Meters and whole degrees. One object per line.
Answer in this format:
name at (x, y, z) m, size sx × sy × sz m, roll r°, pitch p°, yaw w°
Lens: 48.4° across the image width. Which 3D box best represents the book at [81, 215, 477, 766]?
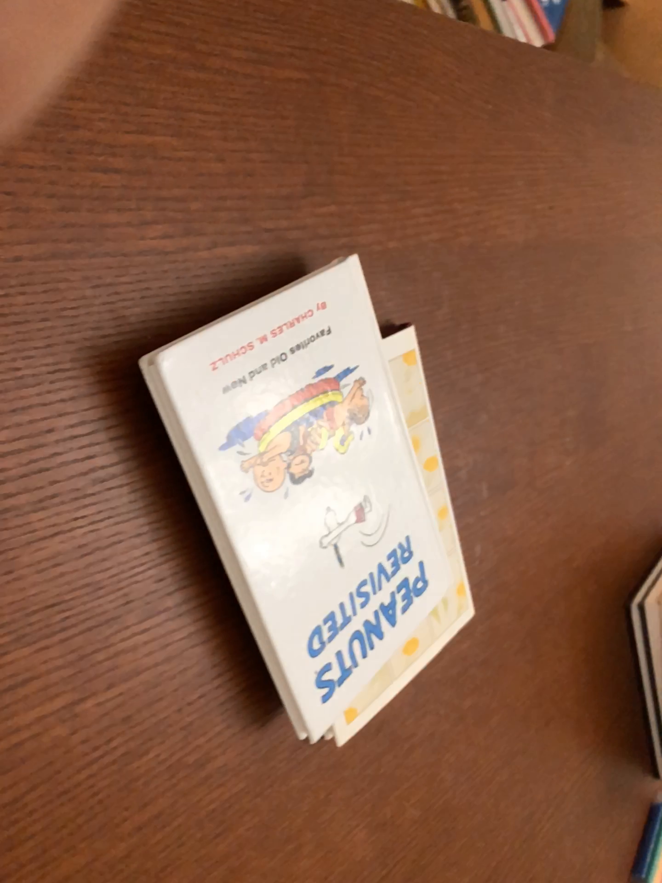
book at (-0.003, 0.018, 0.359) m, size 0.161 × 0.020 × 0.210 m, roll -39°, pitch 117°, yaw -39°
